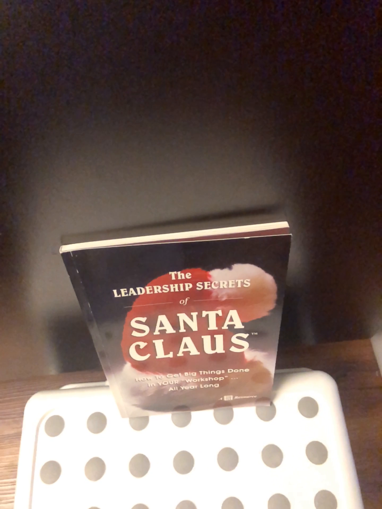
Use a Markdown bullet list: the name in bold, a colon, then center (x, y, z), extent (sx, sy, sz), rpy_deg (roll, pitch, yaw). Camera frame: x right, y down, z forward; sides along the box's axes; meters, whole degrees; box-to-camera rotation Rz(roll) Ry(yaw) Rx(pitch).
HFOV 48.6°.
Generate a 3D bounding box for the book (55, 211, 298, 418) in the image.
- **book**: center (-0.002, 0.067, 0.355), extent (0.160, 0.225, 0.010), rpy_deg (-6, 41, -1)
